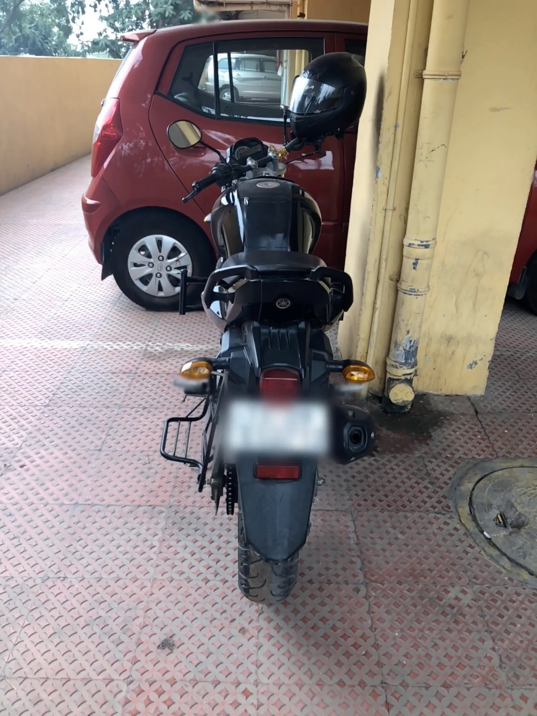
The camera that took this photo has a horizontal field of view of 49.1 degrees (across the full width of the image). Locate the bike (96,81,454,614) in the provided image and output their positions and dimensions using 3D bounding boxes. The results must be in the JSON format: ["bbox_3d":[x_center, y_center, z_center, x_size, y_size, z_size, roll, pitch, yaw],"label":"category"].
[{"bbox_3d":[-0.142,-0.283,2.009,0.610,1.052,1.809,-2,28,-8],"label":"bike"}]
